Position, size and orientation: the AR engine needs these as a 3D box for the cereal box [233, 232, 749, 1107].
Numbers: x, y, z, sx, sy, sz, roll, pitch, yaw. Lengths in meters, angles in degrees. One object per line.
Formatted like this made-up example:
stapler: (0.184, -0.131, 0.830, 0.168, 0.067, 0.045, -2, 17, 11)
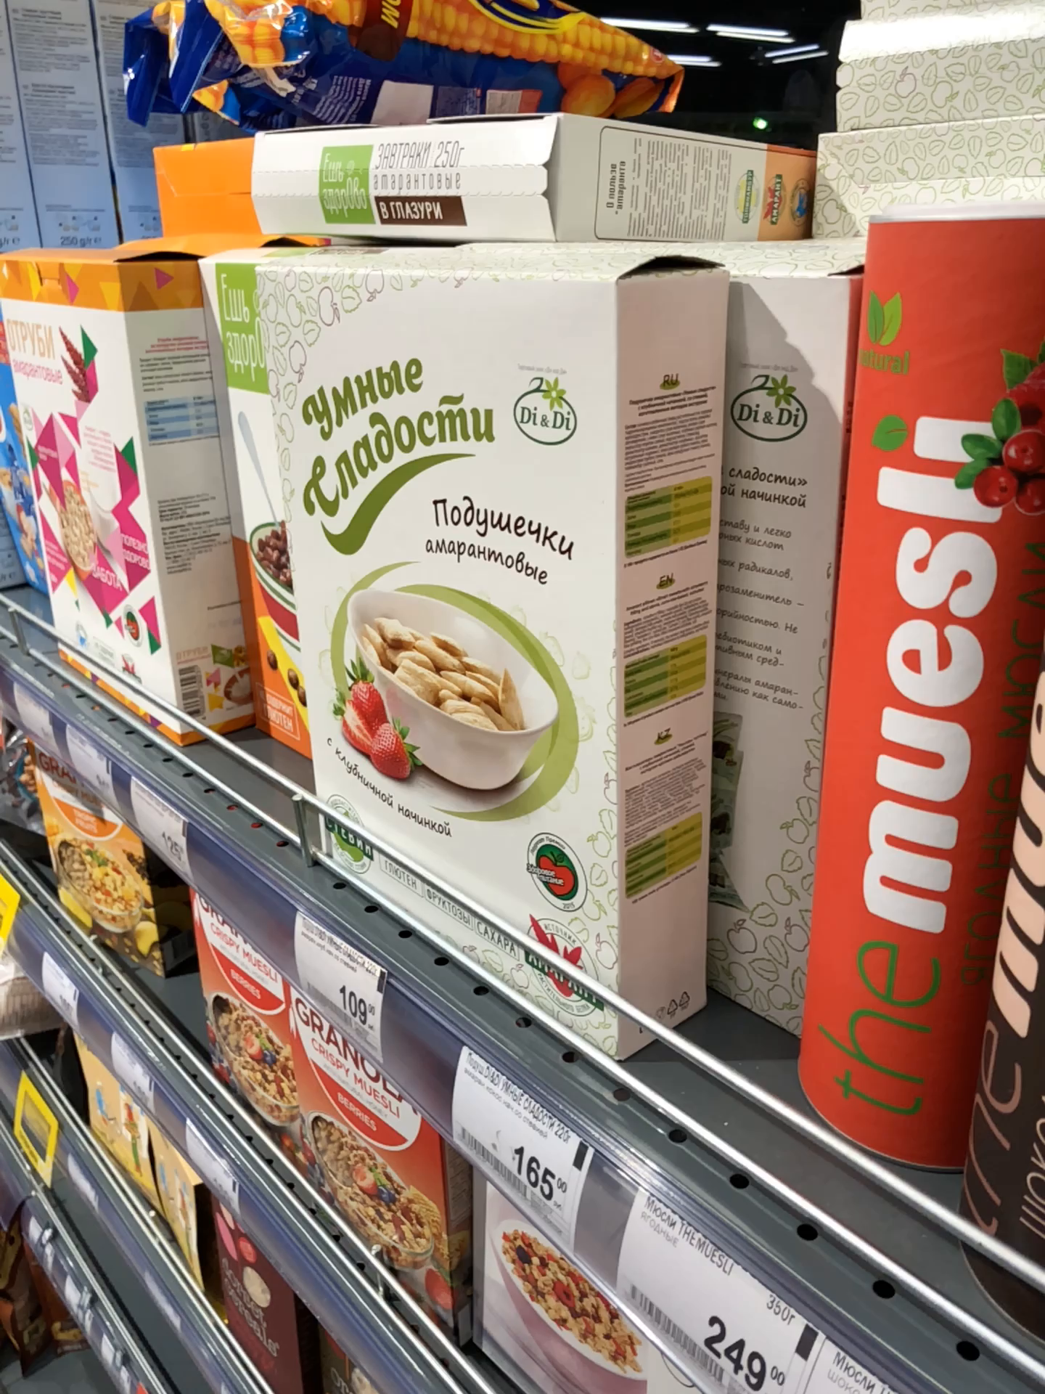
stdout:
cereal box: (-0.019, -0.023, 0.408, 0.050, 0.259, 0.201, -18, 27, -35)
